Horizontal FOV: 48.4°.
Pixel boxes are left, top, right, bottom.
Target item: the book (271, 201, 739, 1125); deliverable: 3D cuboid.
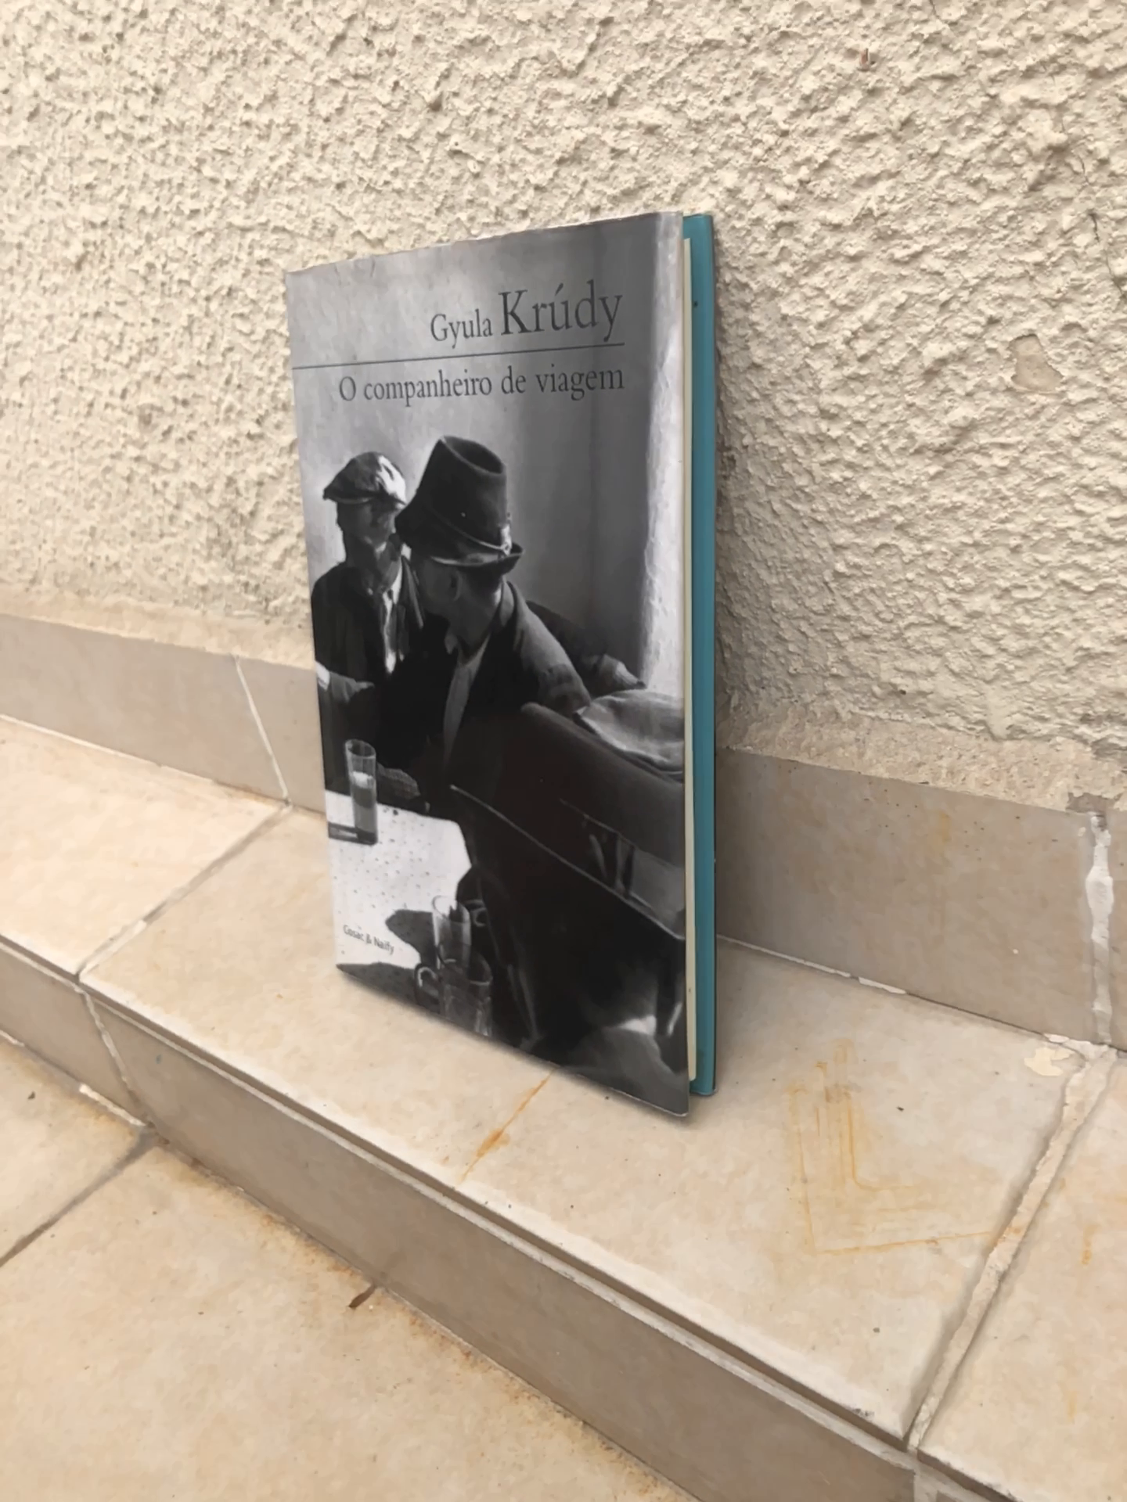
[{"bbox_3d":[-0.018,-0.023,0.324,0.137,0.205,0.019,12,20,40],"label":"book"}]
